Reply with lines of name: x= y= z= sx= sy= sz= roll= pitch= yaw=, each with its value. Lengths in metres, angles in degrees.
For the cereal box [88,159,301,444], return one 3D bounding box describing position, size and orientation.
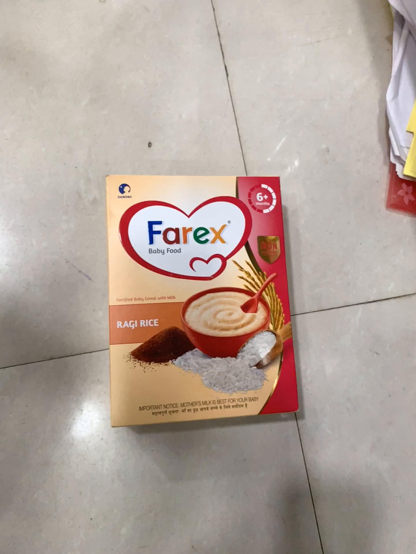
cereal box: x=-0.015 y=0.015 z=0.341 sx=0.150 sy=0.050 sz=0.200 roll=-1 pitch=82 yaw=-14
